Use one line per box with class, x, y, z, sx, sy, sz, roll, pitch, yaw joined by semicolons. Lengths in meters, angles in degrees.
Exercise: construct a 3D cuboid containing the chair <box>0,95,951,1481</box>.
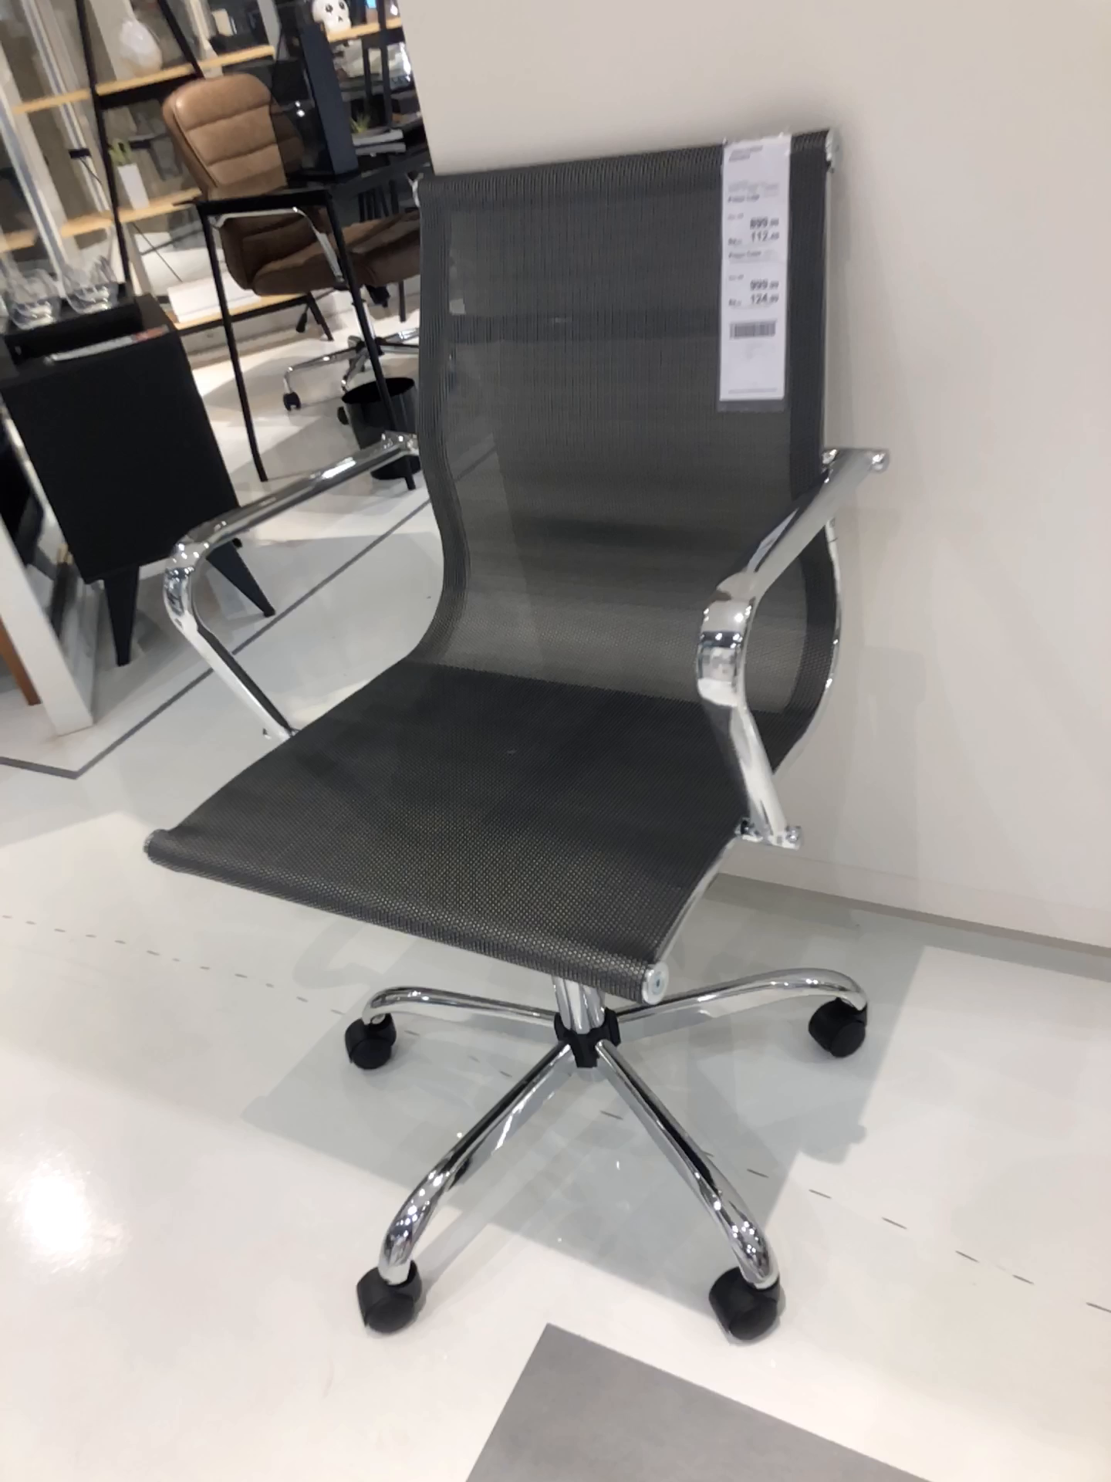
chair;-0.055;0.020;1.107;0.621;0.903;0.654;9;38;31
